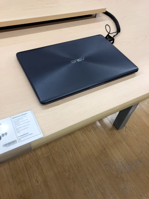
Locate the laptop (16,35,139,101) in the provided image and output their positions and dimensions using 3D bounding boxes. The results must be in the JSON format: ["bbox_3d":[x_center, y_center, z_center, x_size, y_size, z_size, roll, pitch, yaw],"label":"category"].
[{"bbox_3d":[0.013,-0.131,0.553,0.346,0.002,0.229,-20,55,-22],"label":"laptop"}]
